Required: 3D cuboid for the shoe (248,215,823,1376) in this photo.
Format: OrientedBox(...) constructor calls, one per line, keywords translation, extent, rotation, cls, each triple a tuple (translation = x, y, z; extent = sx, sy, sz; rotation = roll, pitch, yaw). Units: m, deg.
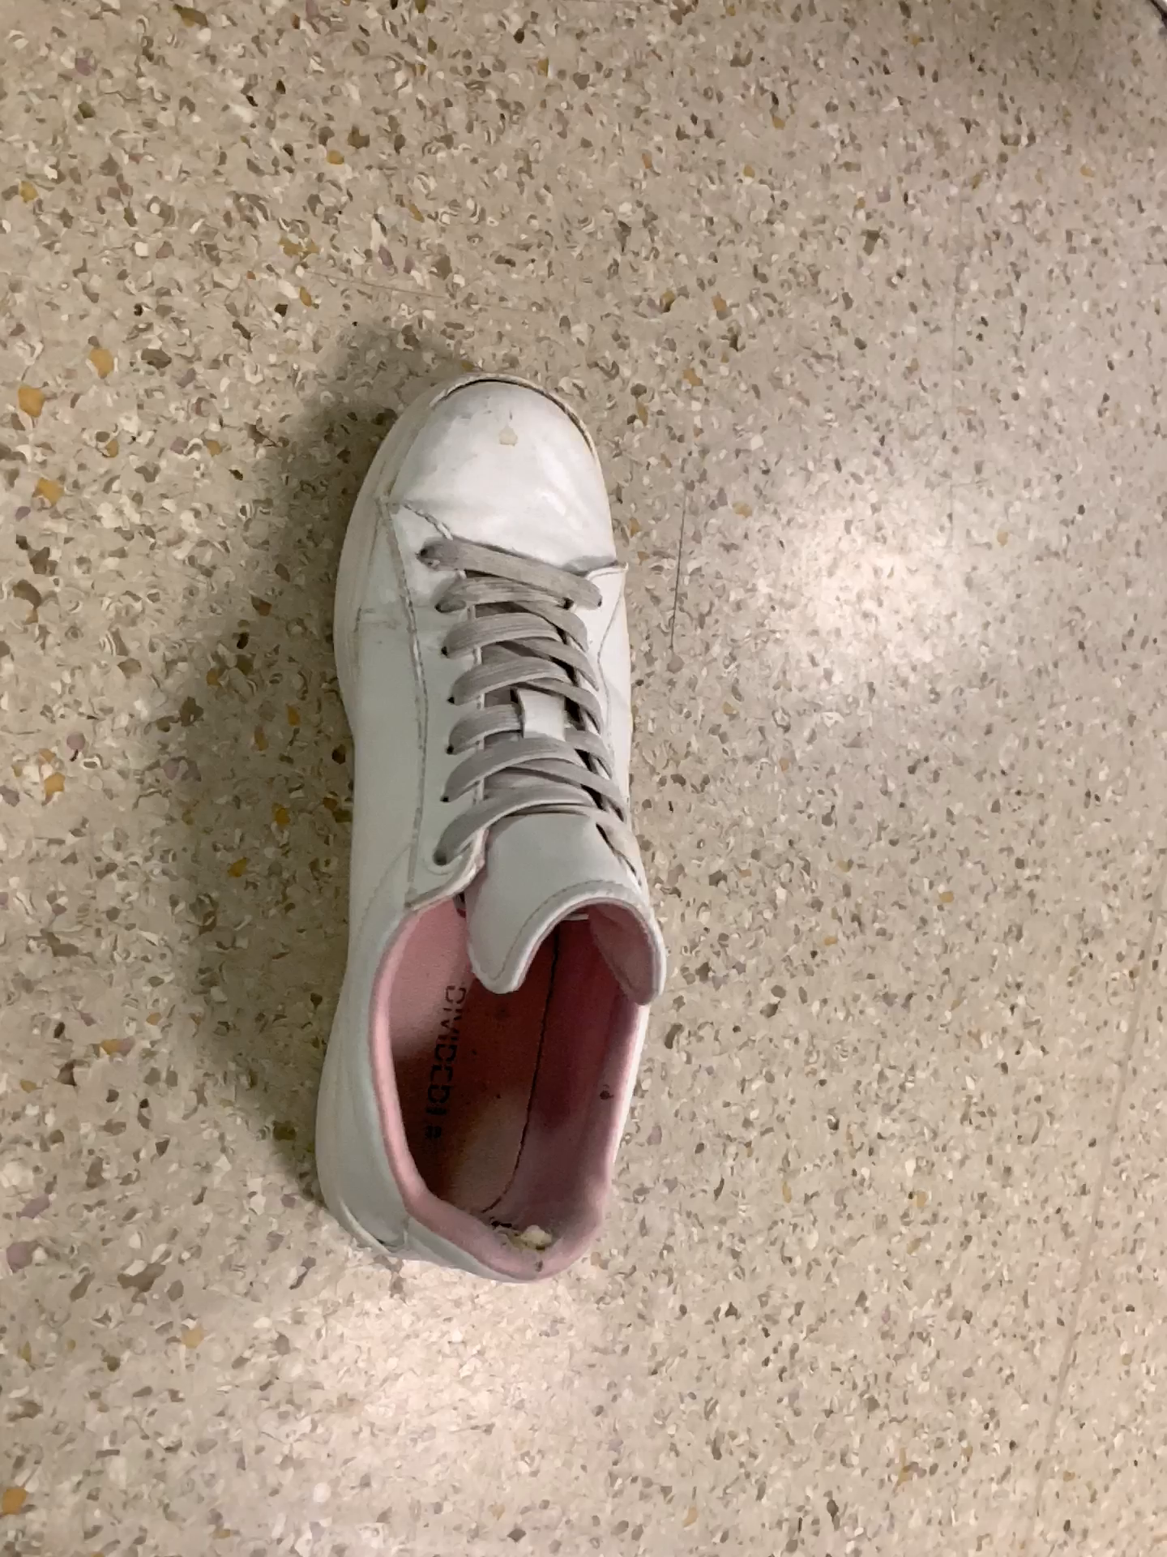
OrientedBox(translation=(-0.013, 0.005, 0.325), extent=(0.098, 0.092, 0.255), rotation=(9, 83, -31), cls="shoe")
